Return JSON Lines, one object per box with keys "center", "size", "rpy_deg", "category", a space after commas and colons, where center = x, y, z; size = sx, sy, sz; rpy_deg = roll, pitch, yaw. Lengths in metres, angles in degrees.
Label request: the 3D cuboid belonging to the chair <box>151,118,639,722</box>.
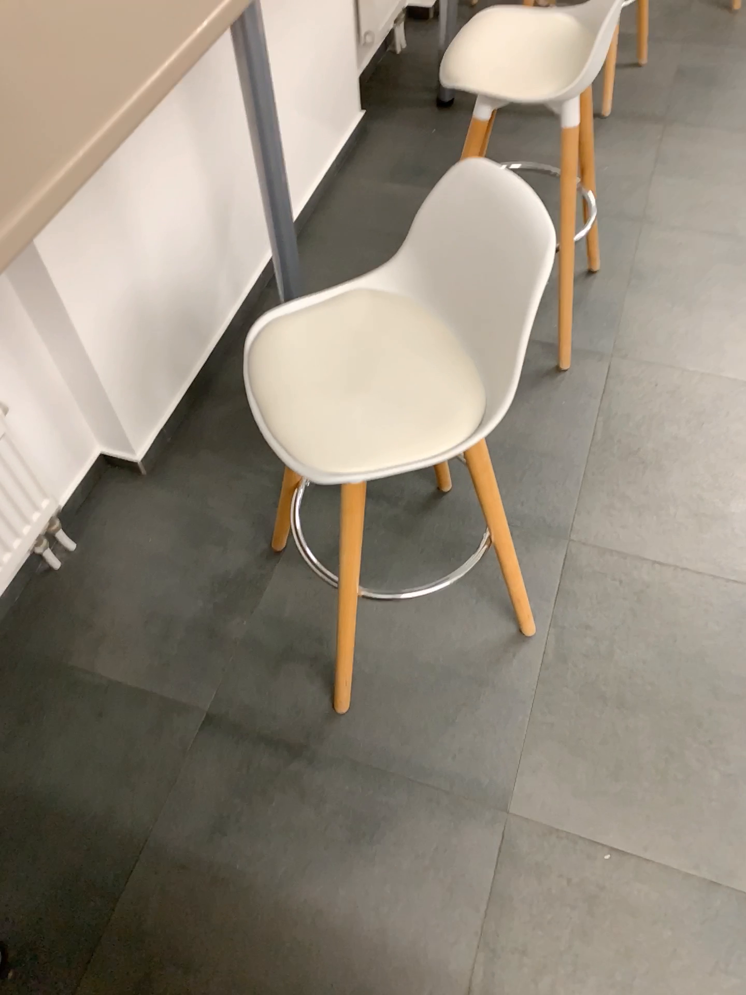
{"center": [0.021, -0.063, 1.343], "size": [0.480, 0.887, 0.482], "rpy_deg": [-20, 56, -11], "category": "chair"}
